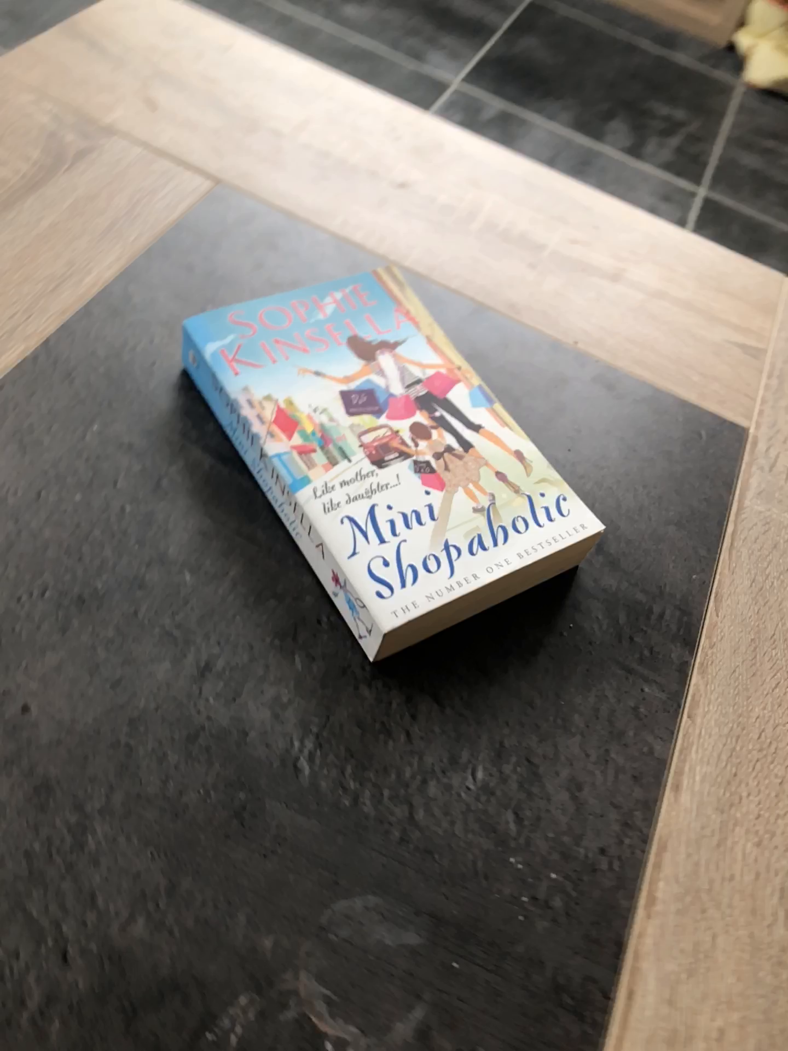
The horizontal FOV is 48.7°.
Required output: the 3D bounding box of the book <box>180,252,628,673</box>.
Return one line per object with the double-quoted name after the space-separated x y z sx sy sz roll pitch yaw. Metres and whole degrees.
-0.002 -0.045 0.430 0.132 0.036 0.200 -22 63 -26 "book"
